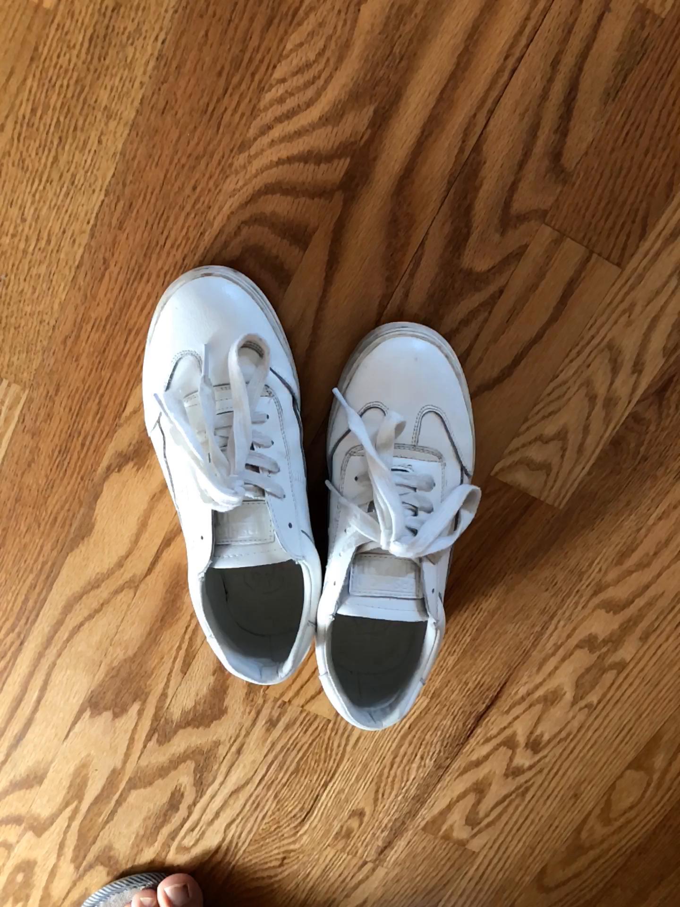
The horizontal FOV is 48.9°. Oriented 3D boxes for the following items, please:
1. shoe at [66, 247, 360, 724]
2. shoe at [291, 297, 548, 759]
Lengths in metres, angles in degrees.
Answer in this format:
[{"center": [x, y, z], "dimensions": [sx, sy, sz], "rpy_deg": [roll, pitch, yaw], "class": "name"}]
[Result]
[{"center": [-0.062, 0.020, 0.460], "dimensions": [0.102, 0.104, 0.260], "rpy_deg": [-10, 112, 2], "class": "shoe"}, {"center": [0.036, 0.047, 0.471], "dimensions": [0.102, 0.107, 0.260], "rpy_deg": [6, 111, -4], "class": "shoe"}]
